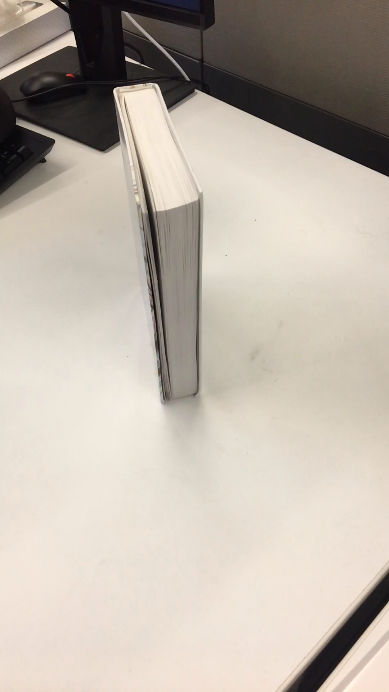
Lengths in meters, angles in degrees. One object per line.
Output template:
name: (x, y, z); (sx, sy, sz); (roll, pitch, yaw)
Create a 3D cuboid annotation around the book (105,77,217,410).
book: (-0.027, -0.085, 0.522); (0.050, 0.230, 0.180); (-11, 49, -6)
